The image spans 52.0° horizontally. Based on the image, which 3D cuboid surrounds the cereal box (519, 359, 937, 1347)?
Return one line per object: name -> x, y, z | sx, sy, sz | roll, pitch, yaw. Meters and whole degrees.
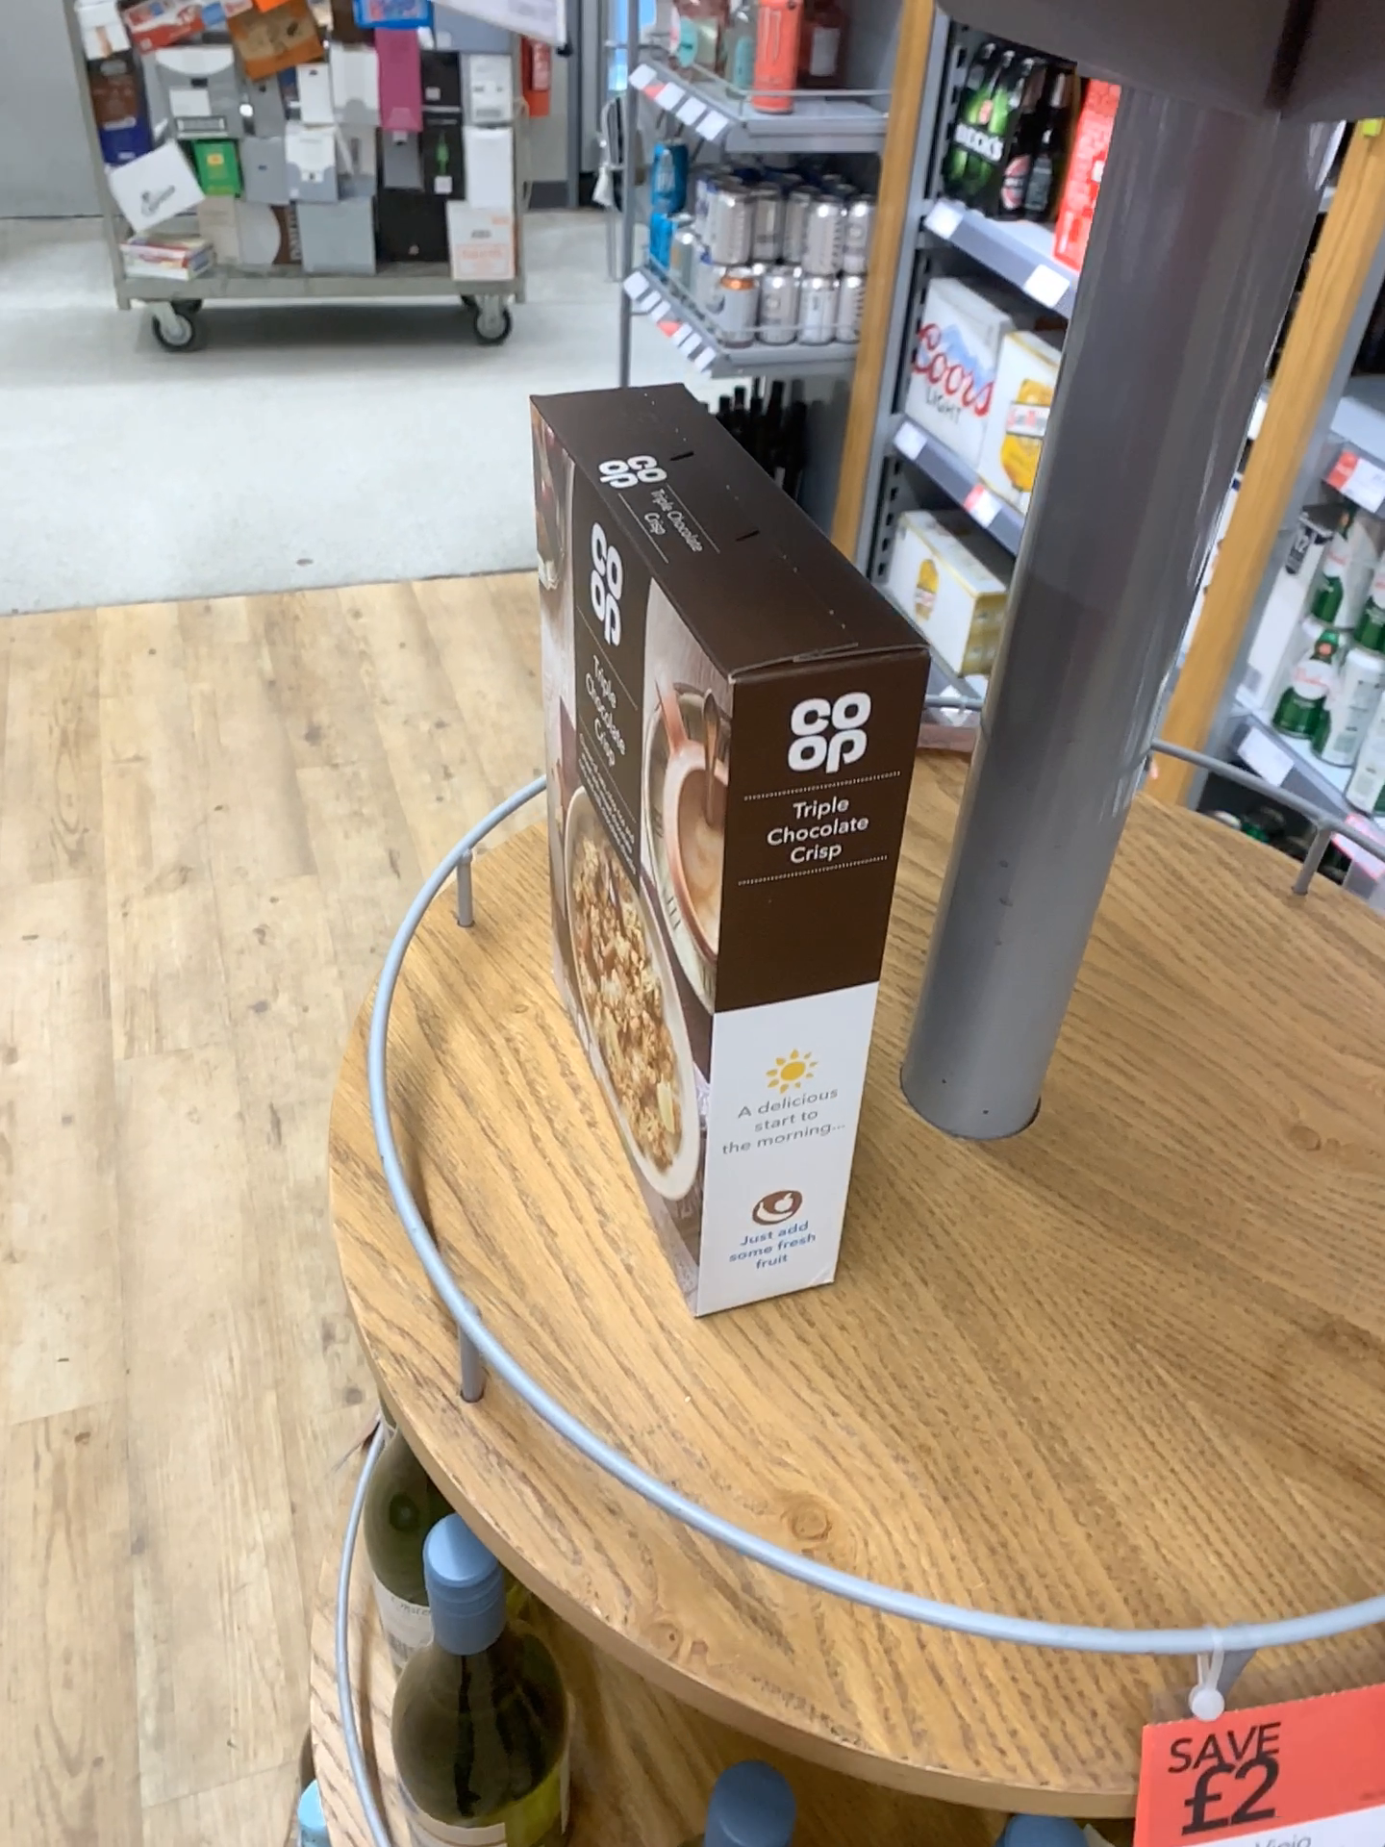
cereal box -> -0.004, -0.021, 0.457 | 0.050, 0.248, 0.192 | -11, 42, -16
